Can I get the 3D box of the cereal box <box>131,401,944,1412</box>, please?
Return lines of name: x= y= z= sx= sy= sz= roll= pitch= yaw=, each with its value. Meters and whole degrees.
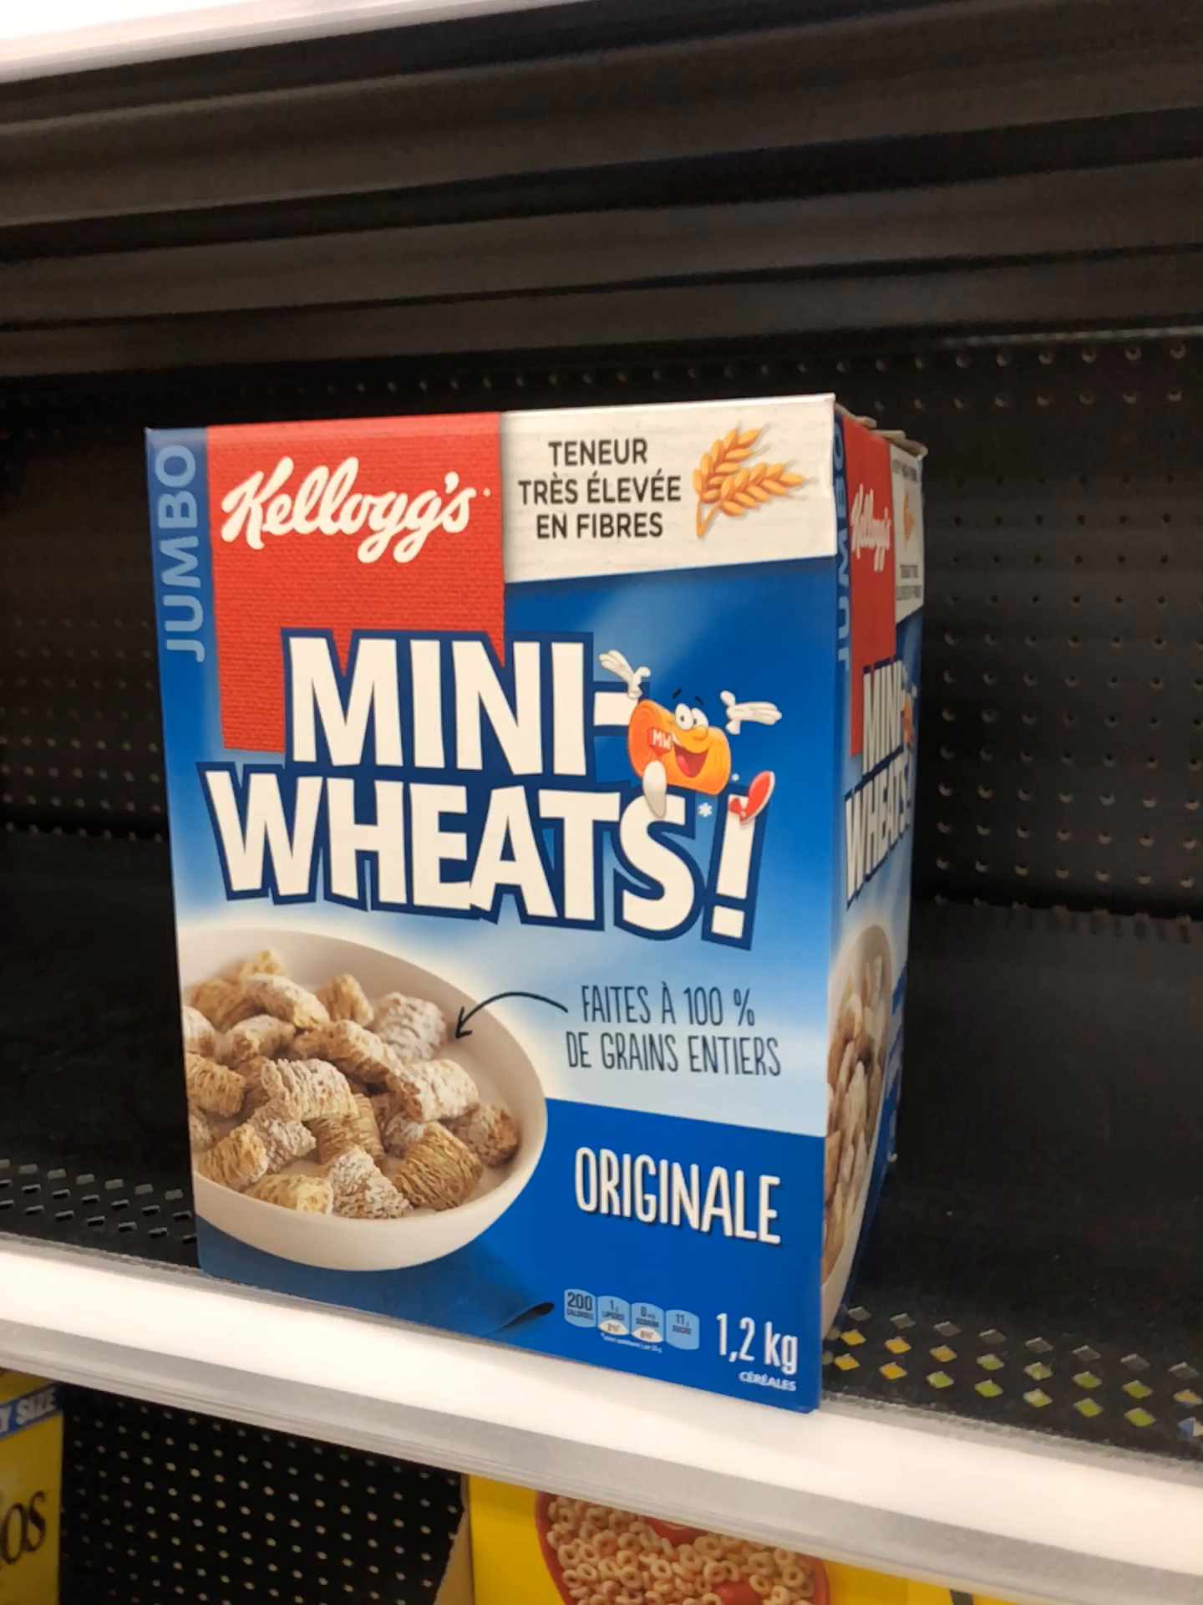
cereal box: x=-0.006 y=0.012 z=0.434 sx=0.200 sy=0.249 sz=0.171 roll=4 pitch=11 yaw=20
